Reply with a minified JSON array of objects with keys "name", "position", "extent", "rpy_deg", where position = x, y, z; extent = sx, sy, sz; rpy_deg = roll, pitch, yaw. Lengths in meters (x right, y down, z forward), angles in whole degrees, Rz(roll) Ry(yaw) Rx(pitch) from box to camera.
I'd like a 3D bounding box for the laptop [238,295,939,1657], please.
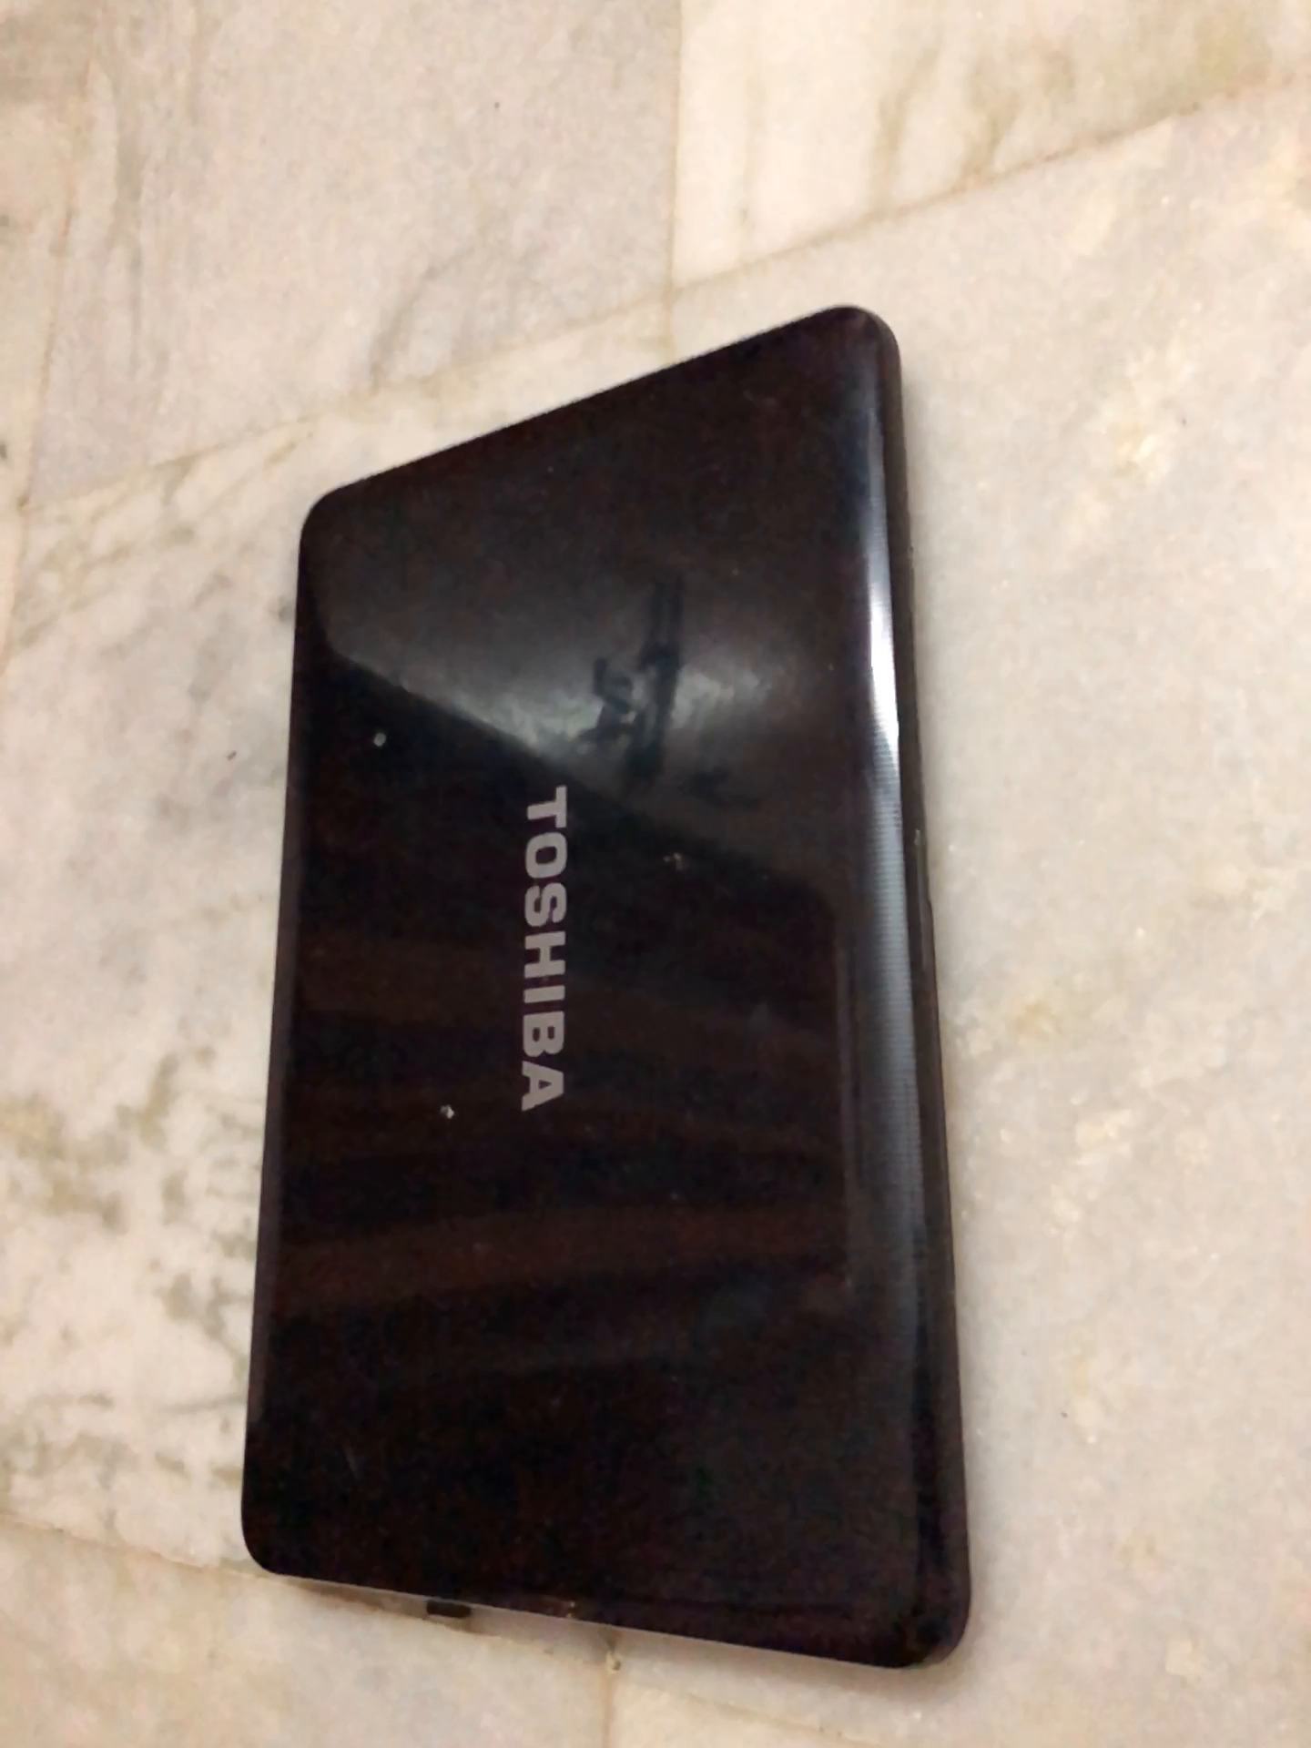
[{"name":"laptop","position":[-0.032,0.022,0.434],"extent":[0.225,0.004,0.359],"rpy_deg":[-9,73,30]}]
